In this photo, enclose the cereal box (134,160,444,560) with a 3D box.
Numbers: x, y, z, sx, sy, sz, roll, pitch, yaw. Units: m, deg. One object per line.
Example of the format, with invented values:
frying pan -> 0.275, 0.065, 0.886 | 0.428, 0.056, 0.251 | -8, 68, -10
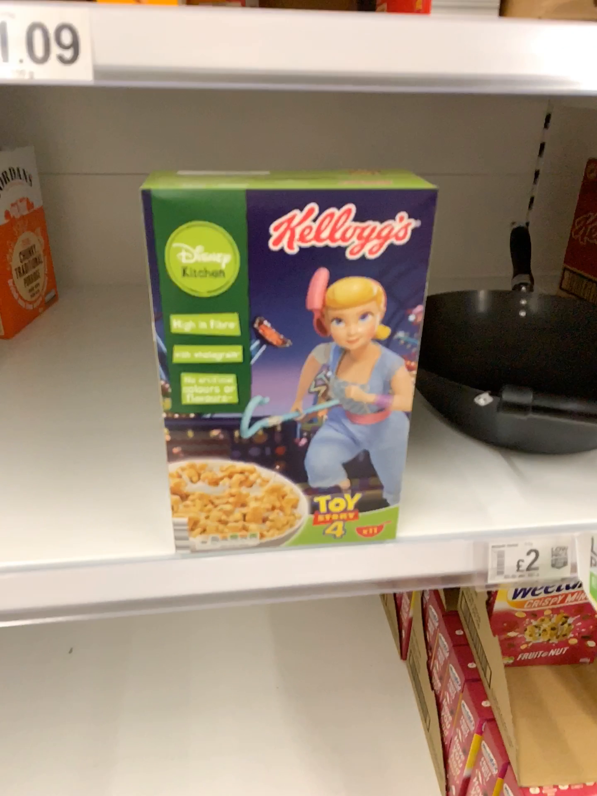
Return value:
cereal box -> -0.011, -0.021, 0.473 | 0.190, 0.297, 0.081 | -2, 28, -6
